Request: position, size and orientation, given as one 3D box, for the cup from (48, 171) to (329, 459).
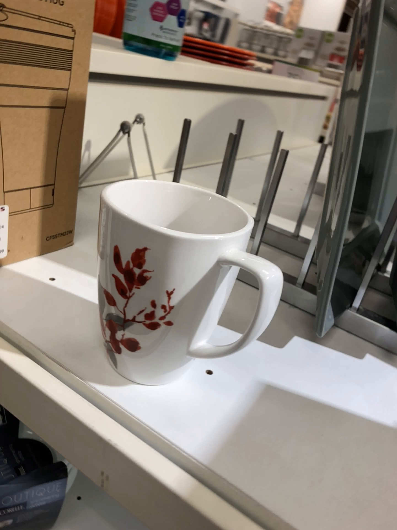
[{"bbox_3d":[-0.011,0.016,0.258,0.119,0.100,0.085,27,29,27],"label":"cup"}]
